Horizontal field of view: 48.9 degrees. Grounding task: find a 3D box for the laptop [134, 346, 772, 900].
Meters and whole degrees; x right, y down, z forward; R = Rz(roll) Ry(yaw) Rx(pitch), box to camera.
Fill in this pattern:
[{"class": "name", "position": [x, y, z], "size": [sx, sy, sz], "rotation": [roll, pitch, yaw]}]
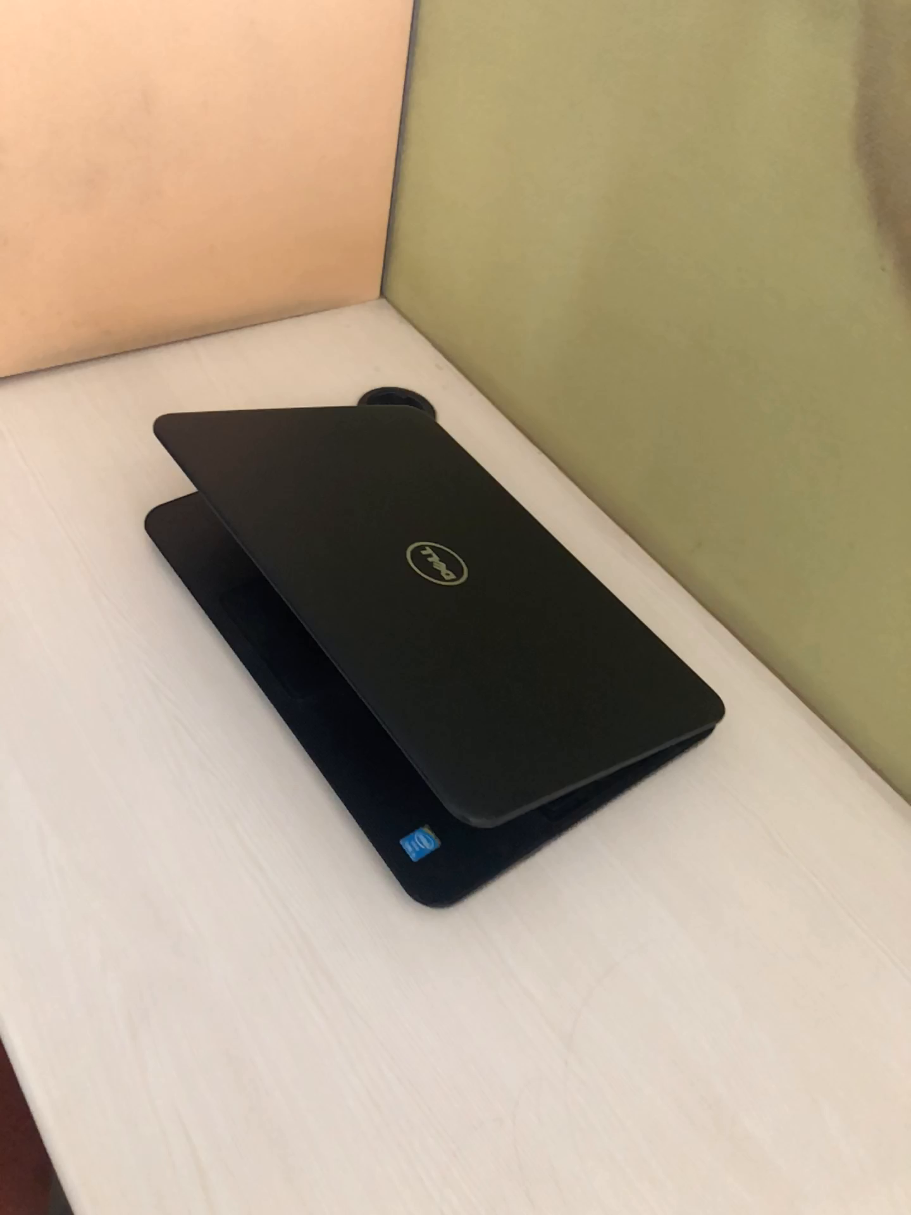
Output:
[{"class": "laptop", "position": [-0.015, -0.021, 0.672], "size": [0.247, 0.078, 0.354], "rotation": [-24, 57, -30]}]
